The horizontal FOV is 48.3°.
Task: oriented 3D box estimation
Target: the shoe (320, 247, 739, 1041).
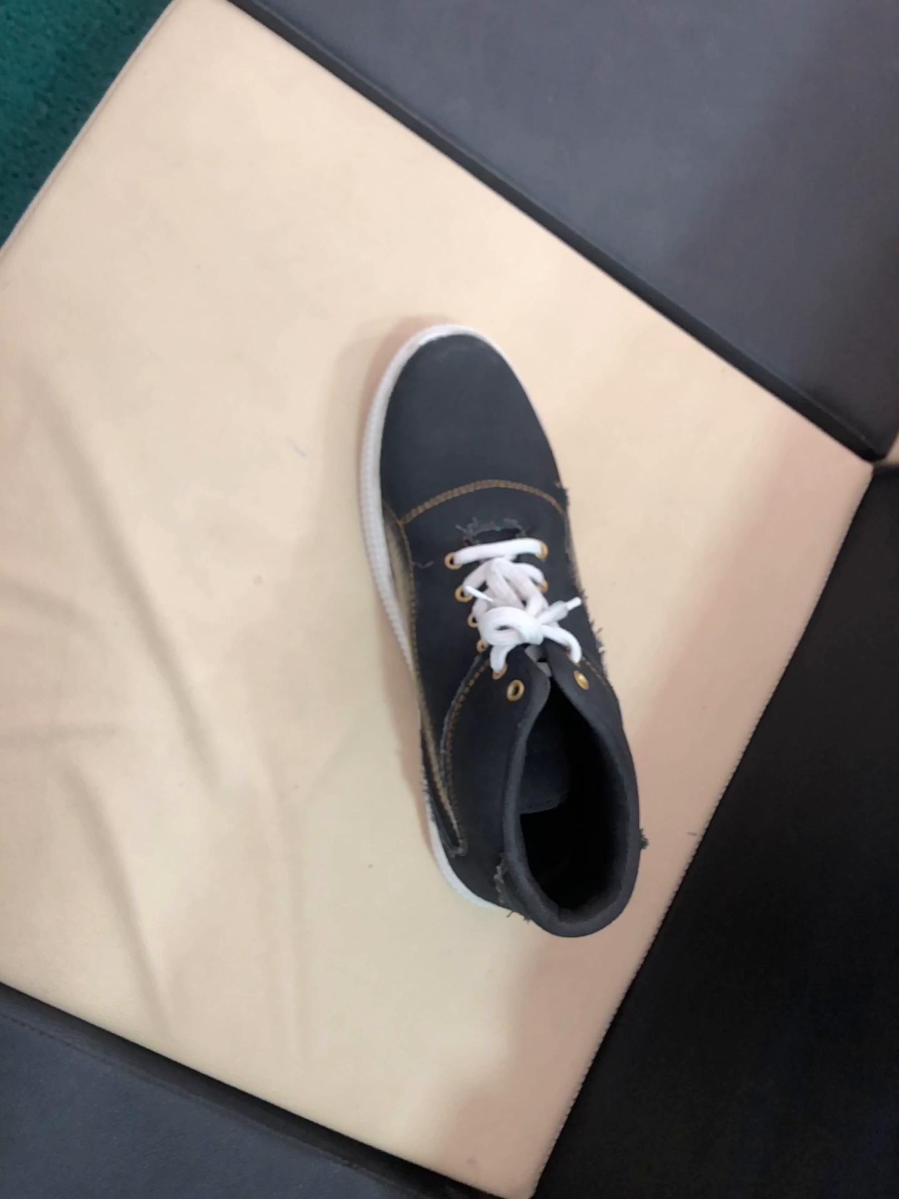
[{"bbox_3d":[0.029,0.015,0.449,0.100,0.110,0.300,-11,91,-16],"label":"shoe"}]
